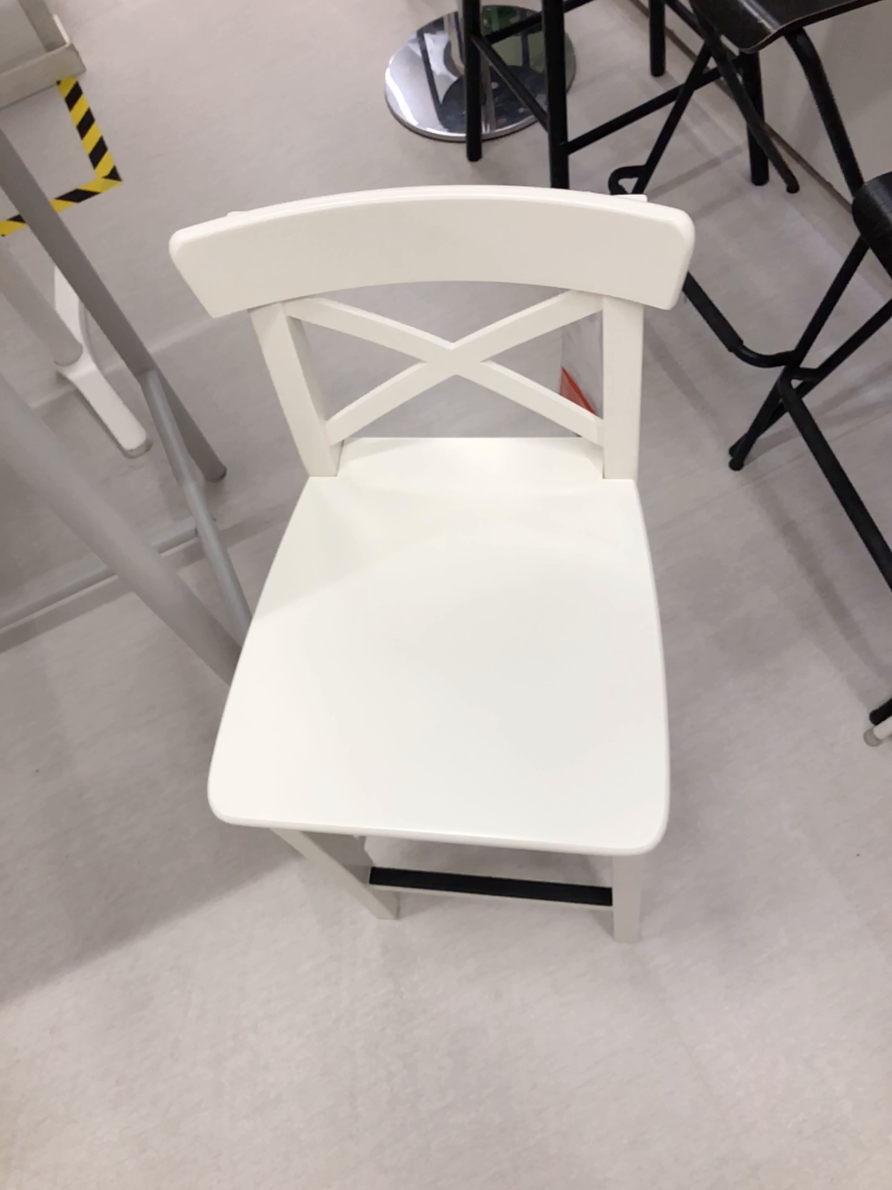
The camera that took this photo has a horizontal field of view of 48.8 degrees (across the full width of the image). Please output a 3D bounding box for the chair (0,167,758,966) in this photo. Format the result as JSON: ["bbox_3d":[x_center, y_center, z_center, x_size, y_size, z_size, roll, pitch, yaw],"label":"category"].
[{"bbox_3d":[0.030,0.082,0.966,0.420,0.837,0.421,2,65,11],"label":"chair"}]
